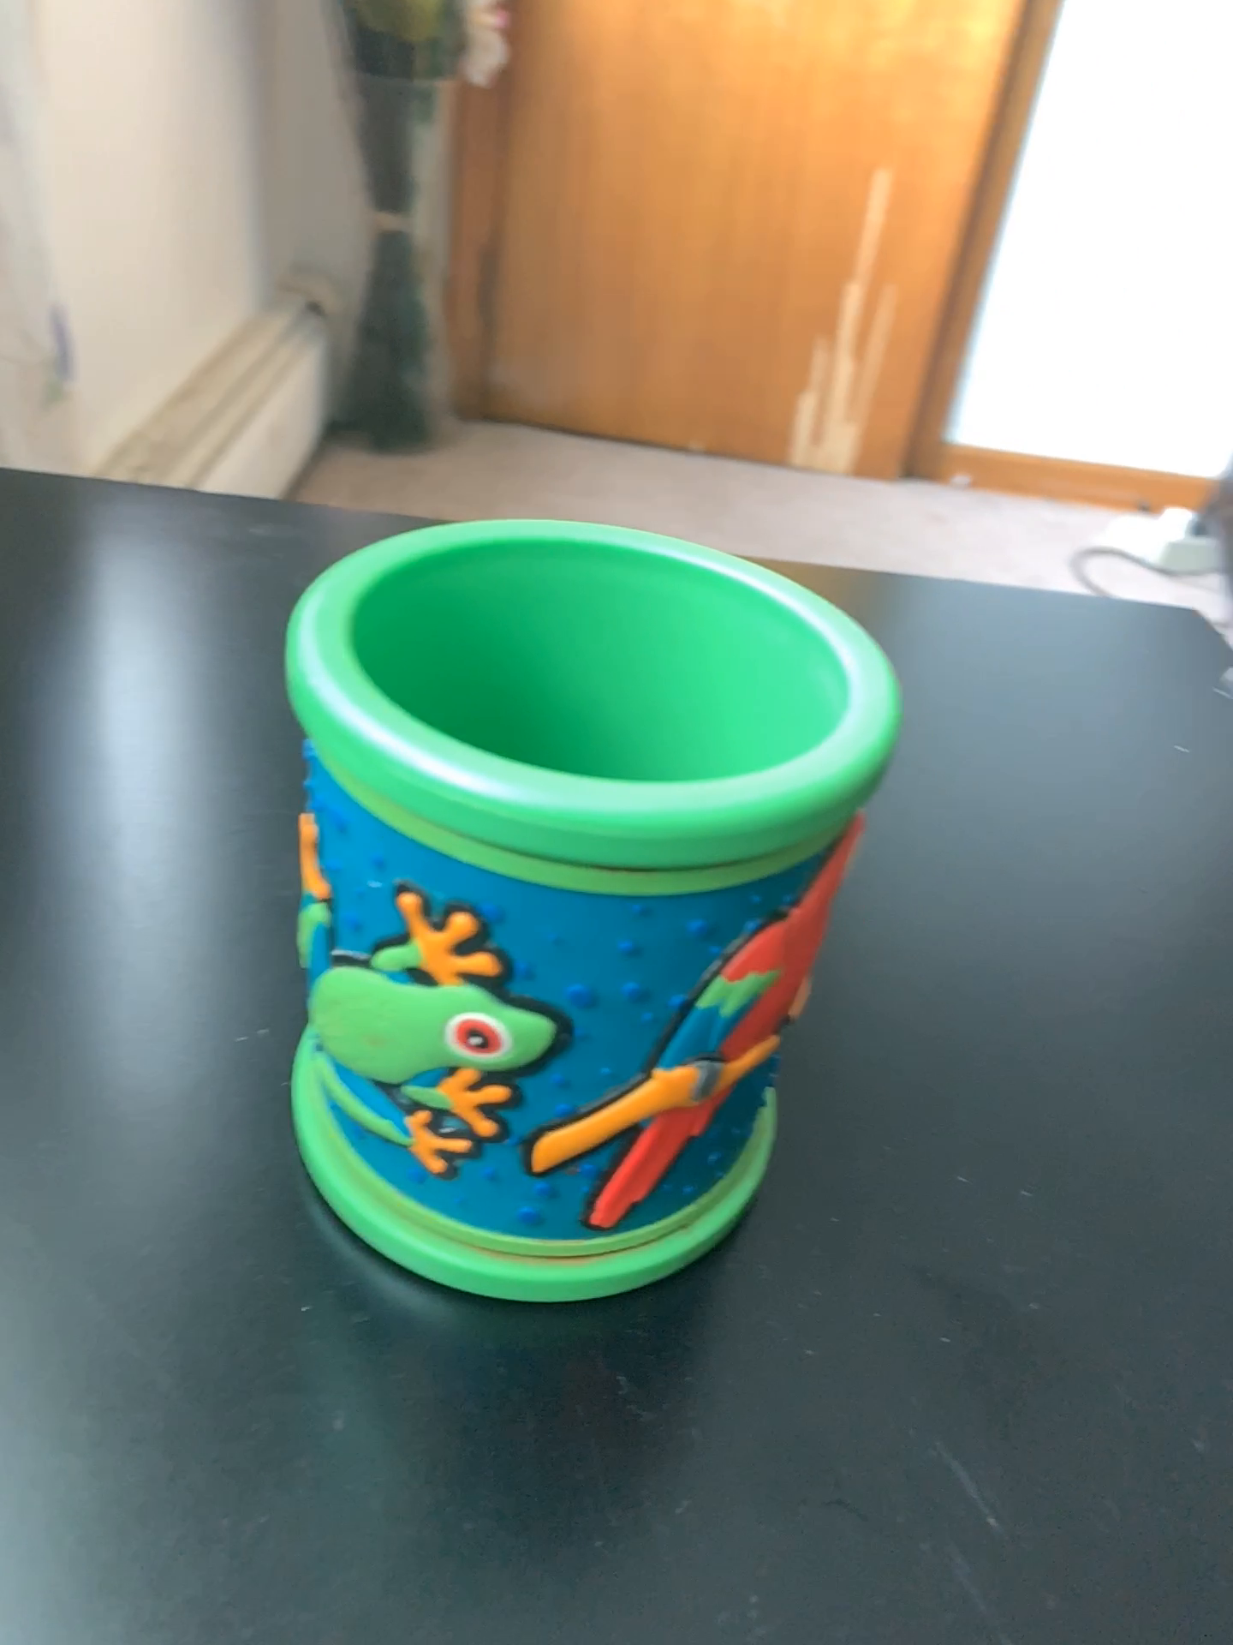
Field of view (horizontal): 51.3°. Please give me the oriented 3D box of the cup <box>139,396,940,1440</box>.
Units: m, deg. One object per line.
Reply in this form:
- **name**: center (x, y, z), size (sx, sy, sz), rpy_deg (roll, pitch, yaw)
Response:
- **cup**: center (-0.003, 0.004, 0.207), size (0.080, 0.099, 0.121), rpy_deg (14, 35, 8)
